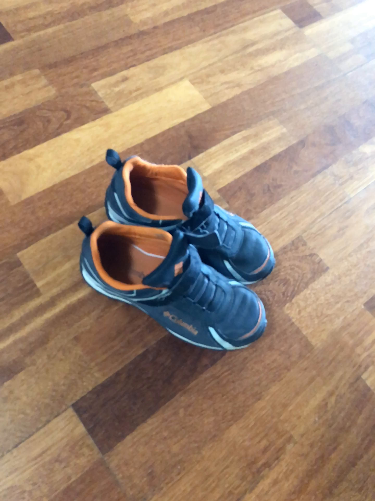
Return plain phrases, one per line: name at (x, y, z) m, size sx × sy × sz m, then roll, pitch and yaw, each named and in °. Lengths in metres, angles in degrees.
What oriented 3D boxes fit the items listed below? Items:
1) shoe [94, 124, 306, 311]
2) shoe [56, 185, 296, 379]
shoe at (0.010, -0.040, 0.572) m, size 0.252 × 0.127 × 0.112 m, roll 28°, pitch 64°, yaw 2°
shoe at (-0.017, 0.042, 0.488) m, size 0.247 × 0.102 × 0.097 m, roll 28°, pitch 64°, yaw 2°
